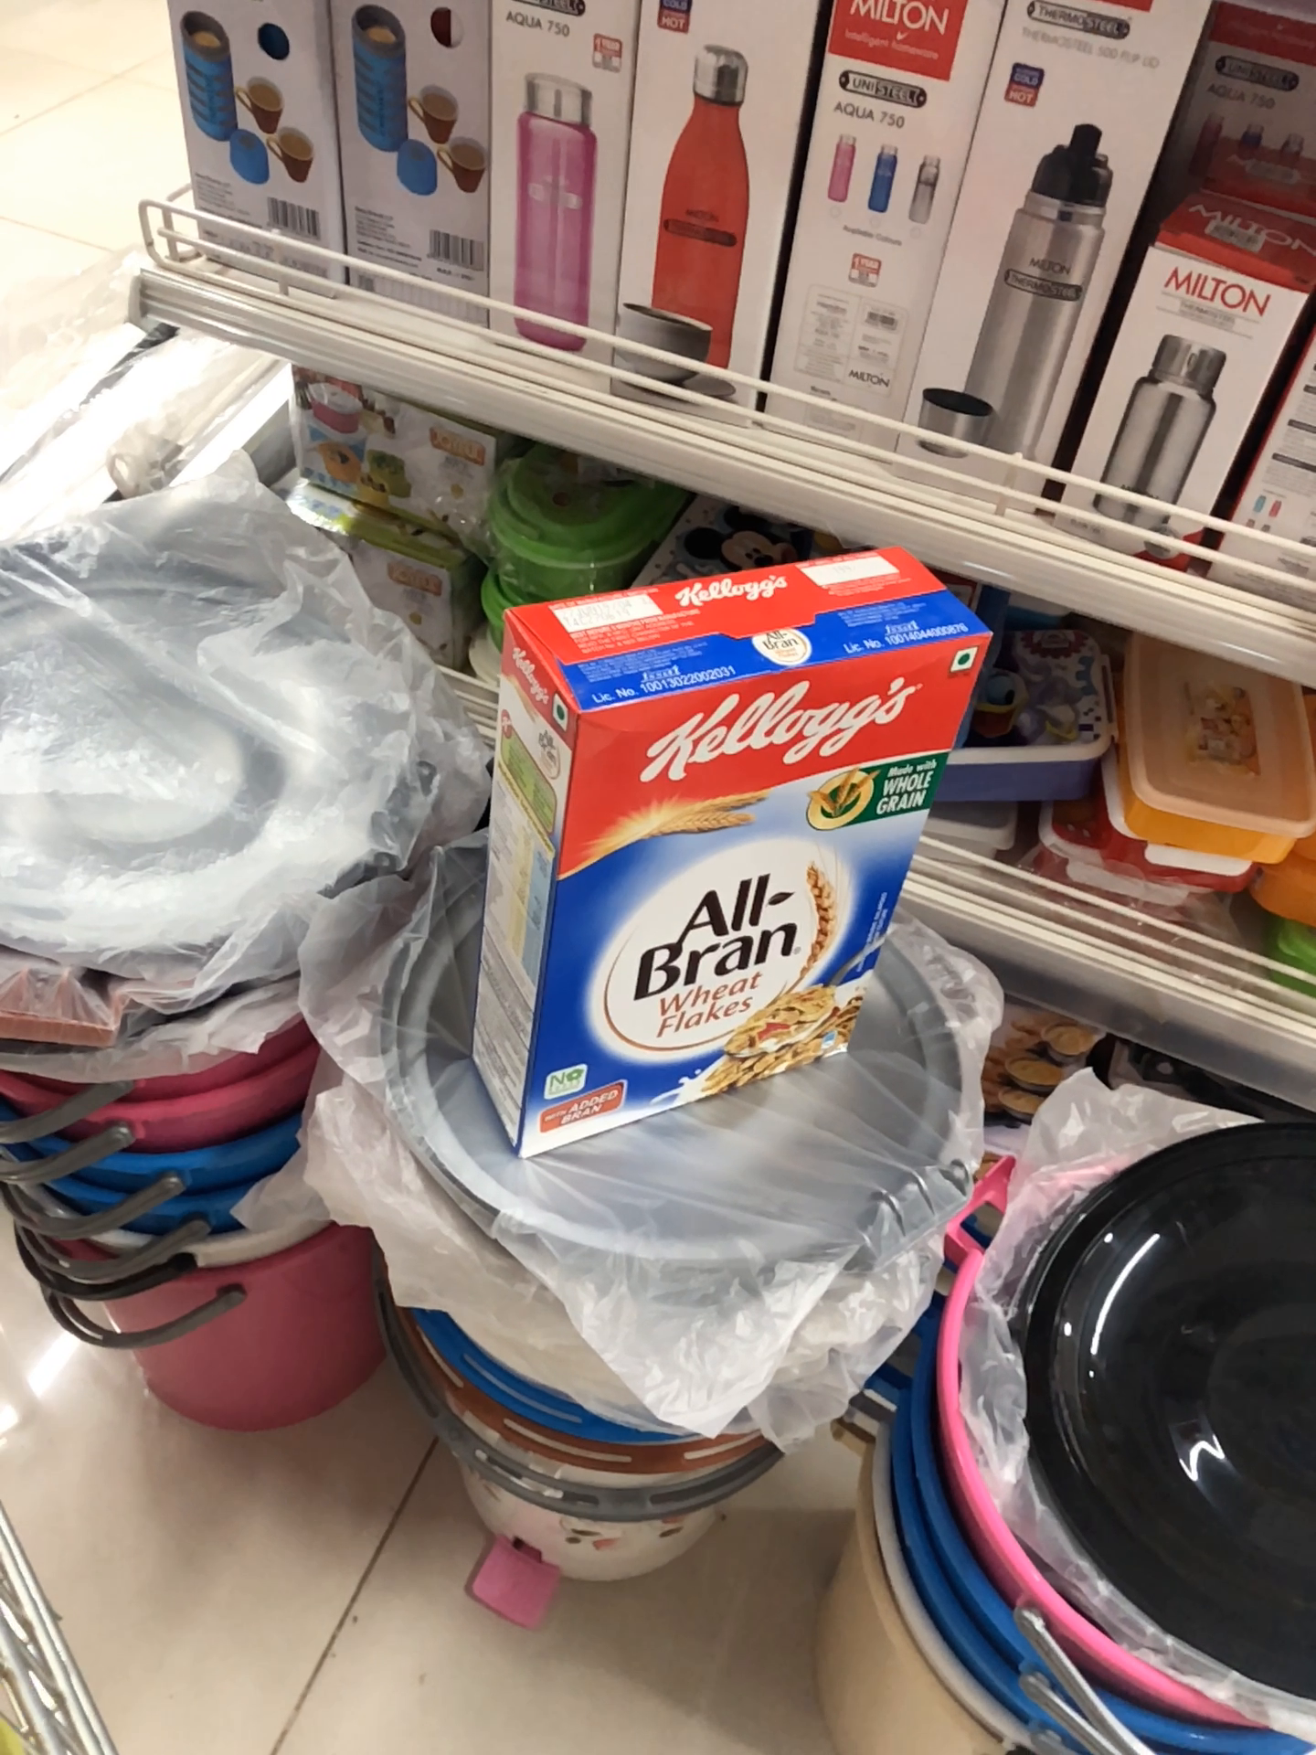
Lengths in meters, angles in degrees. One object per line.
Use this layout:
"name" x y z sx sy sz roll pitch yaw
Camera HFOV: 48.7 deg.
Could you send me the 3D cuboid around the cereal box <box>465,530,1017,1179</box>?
"cereal box" 0.022 -0.003 0.636 0.190 0.269 0.070 -14 48 -23
